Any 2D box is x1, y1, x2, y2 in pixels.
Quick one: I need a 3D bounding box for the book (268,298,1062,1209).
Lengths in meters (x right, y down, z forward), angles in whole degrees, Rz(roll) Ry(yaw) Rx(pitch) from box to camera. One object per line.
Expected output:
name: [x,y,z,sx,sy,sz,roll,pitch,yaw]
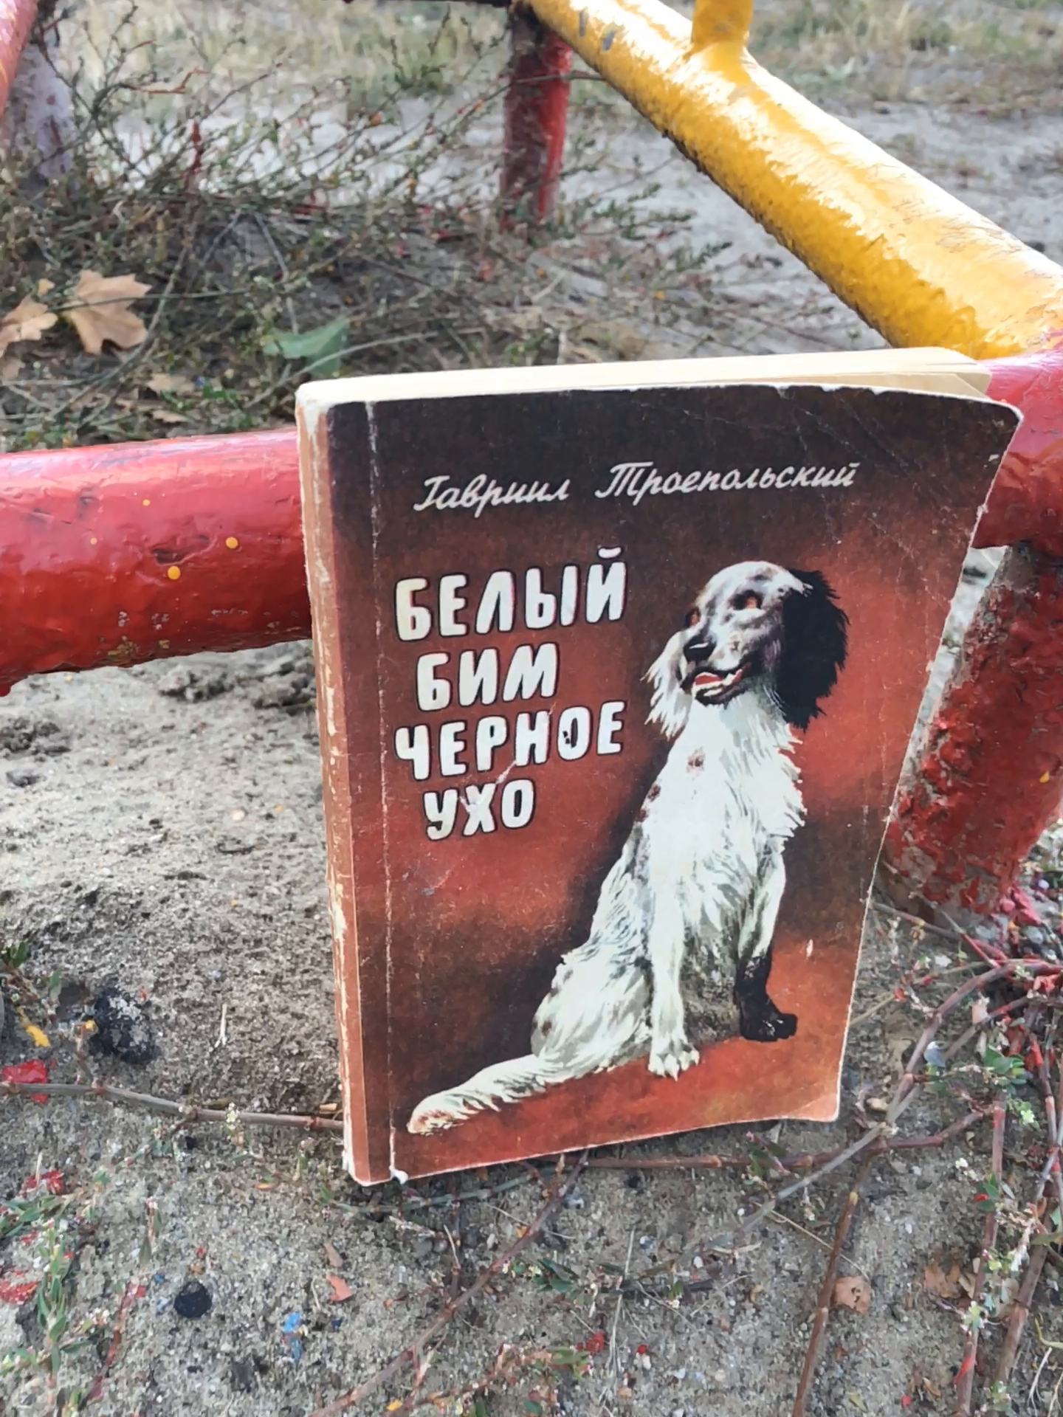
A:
book: [0.021,0.021,0.247,0.130,0.196,0.030,-6,35,-12]
